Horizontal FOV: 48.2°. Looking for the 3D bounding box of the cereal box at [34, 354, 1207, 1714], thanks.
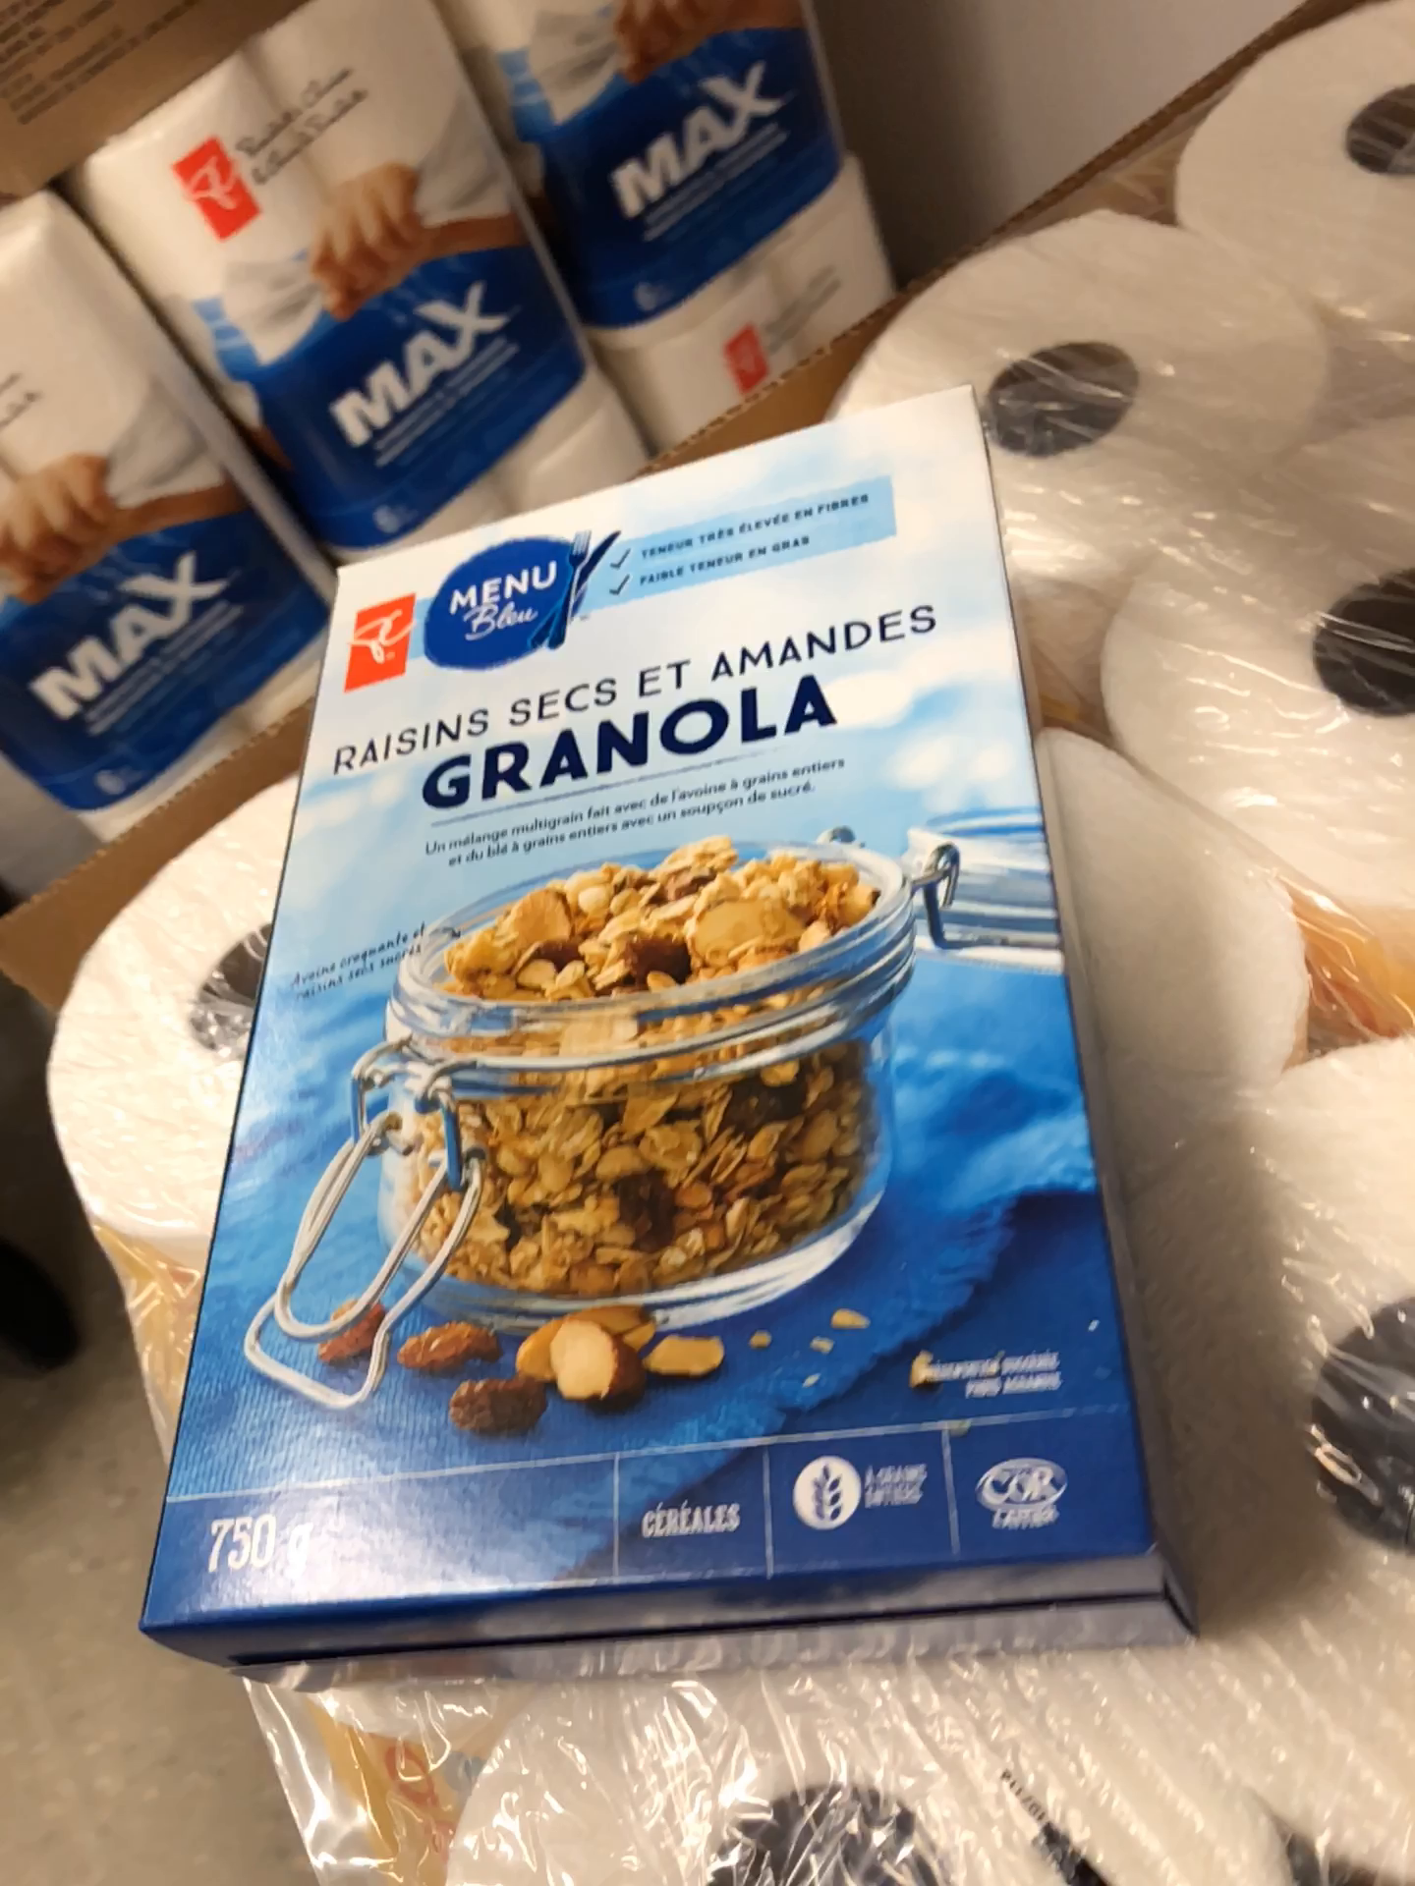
[{"bbox_3d":[-0.012,0.007,0.315,0.170,0.060,0.250,-11,53,16],"label":"cereal box"}]
